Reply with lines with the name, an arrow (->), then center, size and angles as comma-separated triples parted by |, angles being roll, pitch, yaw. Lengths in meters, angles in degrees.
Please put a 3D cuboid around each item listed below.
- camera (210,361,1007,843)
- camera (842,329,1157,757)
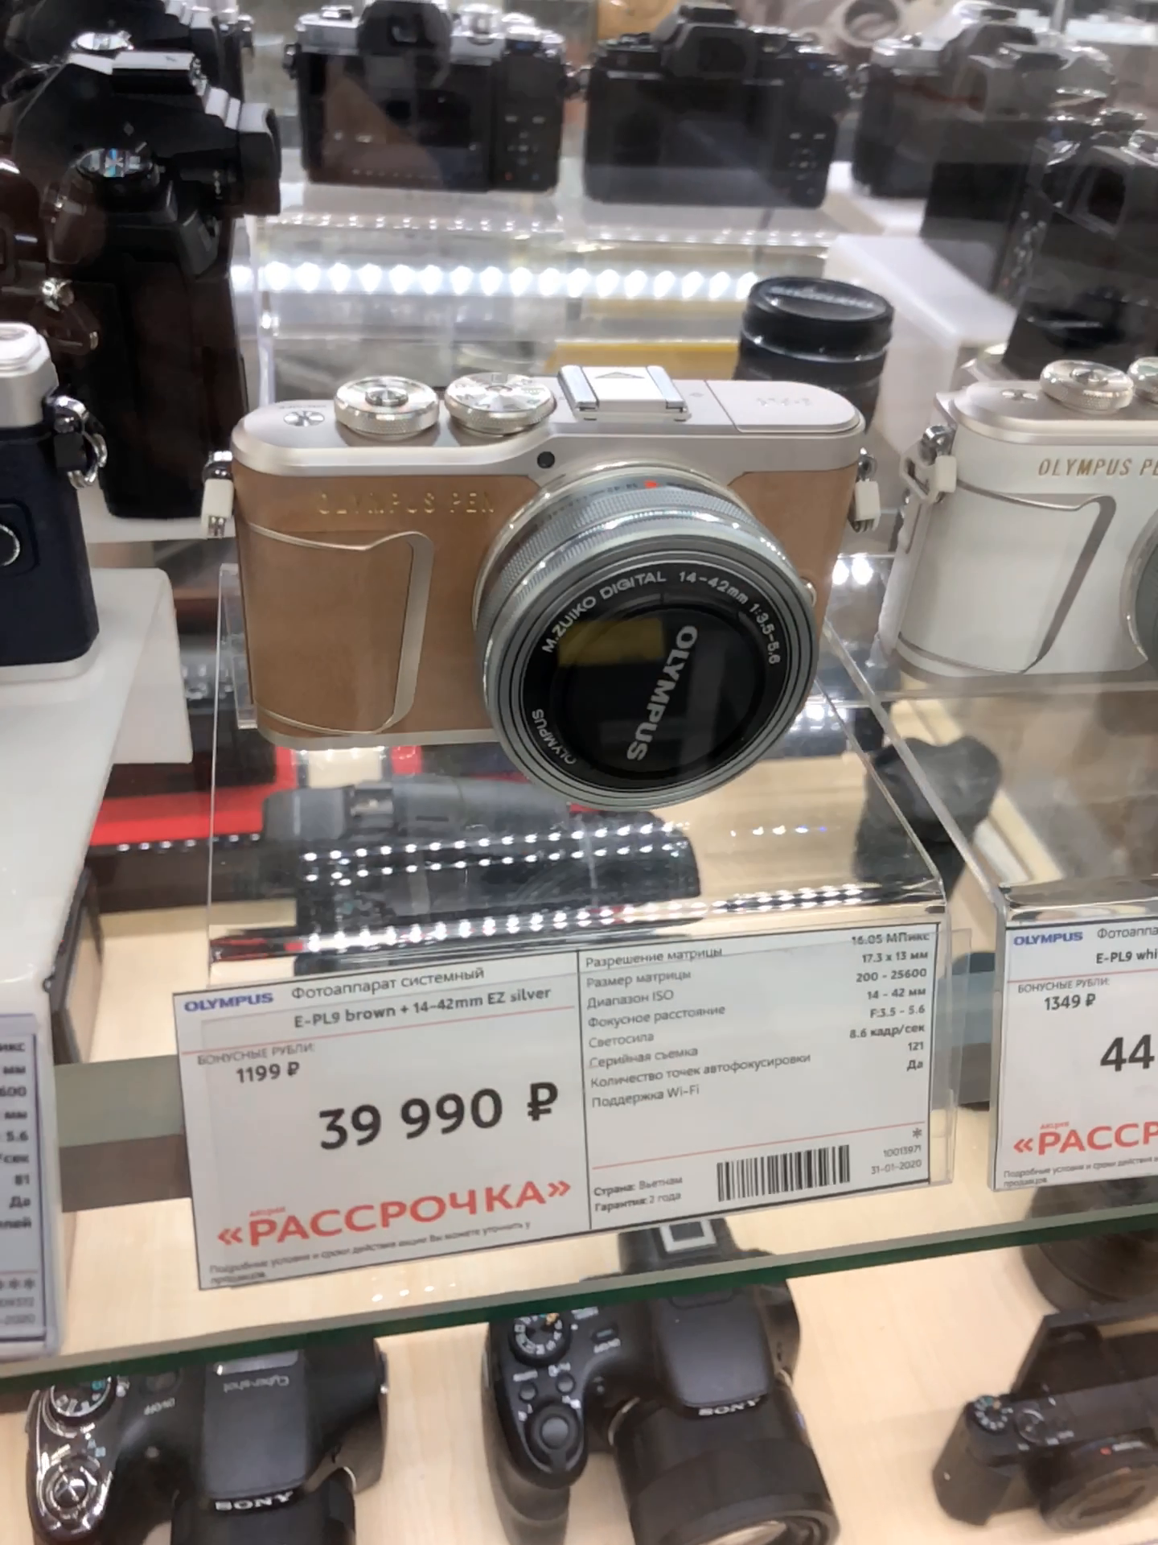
camera -> 0.000, -0.034, 0.233 | 0.122, 0.060, 0.060 | -4, 38, -11
camera -> 0.126, -0.049, 0.259 | 0.122, 0.060, 0.060 | -4, 38, -11
